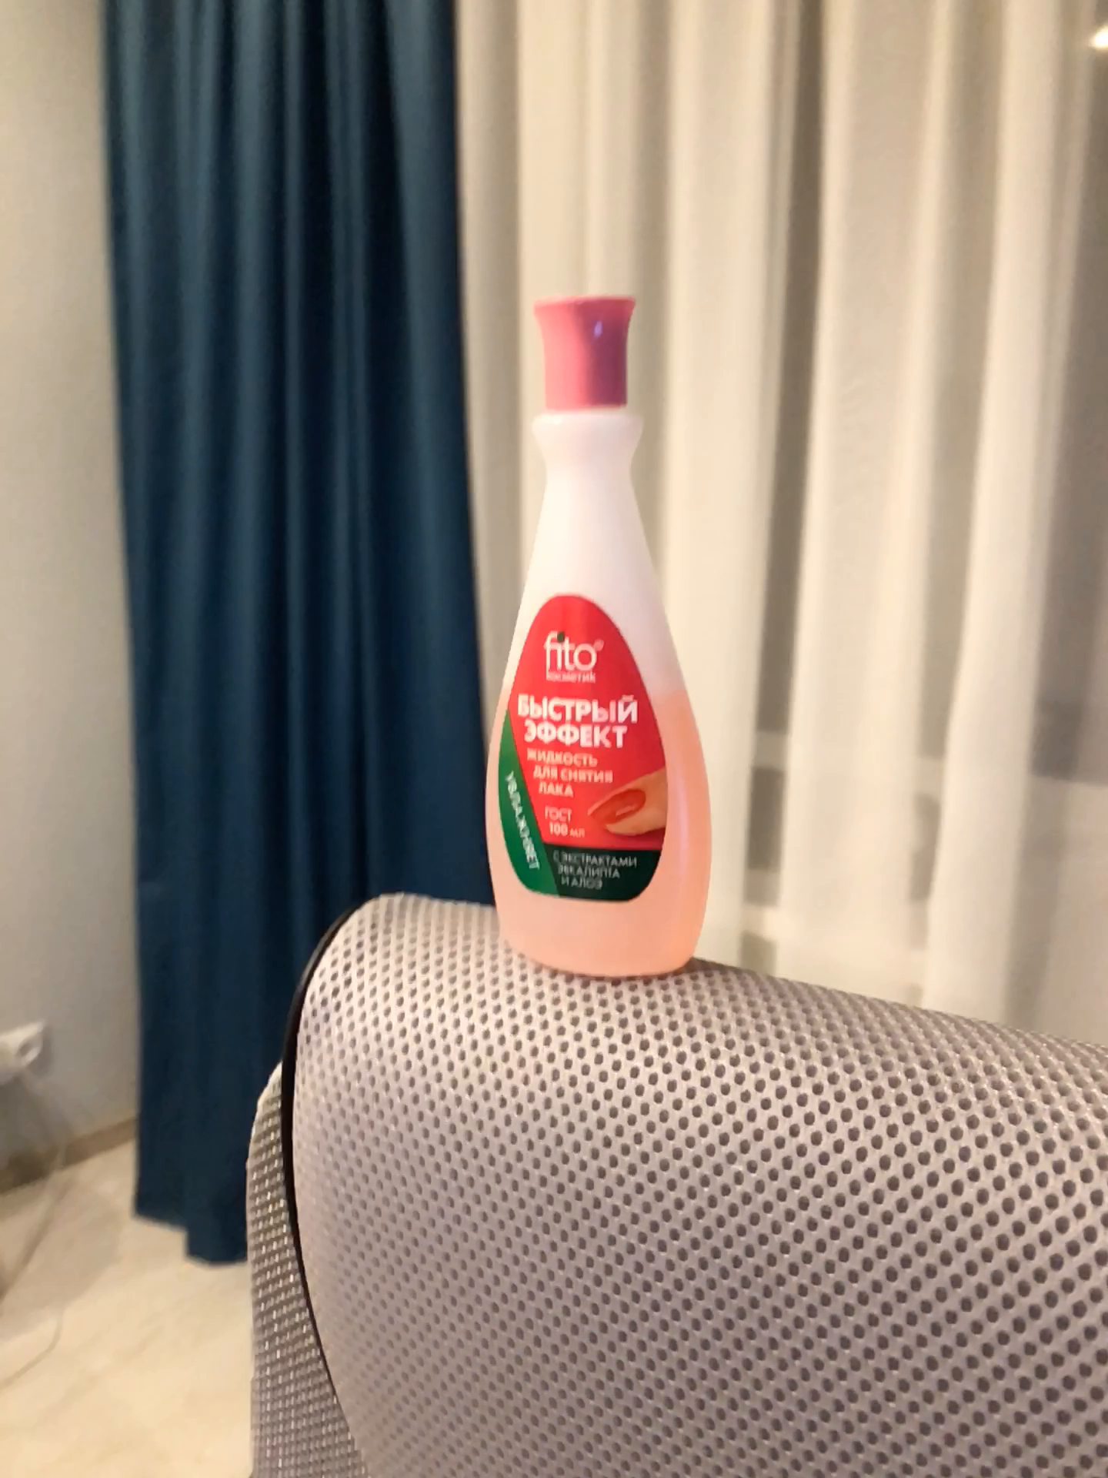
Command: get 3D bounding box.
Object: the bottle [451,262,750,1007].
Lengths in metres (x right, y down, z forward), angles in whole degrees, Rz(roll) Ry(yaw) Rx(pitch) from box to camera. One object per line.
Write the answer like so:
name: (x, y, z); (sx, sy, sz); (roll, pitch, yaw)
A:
bottle: (0.013, -0.023, 0.288); (0.056, 0.158, 0.039); (4, 12, 23)
